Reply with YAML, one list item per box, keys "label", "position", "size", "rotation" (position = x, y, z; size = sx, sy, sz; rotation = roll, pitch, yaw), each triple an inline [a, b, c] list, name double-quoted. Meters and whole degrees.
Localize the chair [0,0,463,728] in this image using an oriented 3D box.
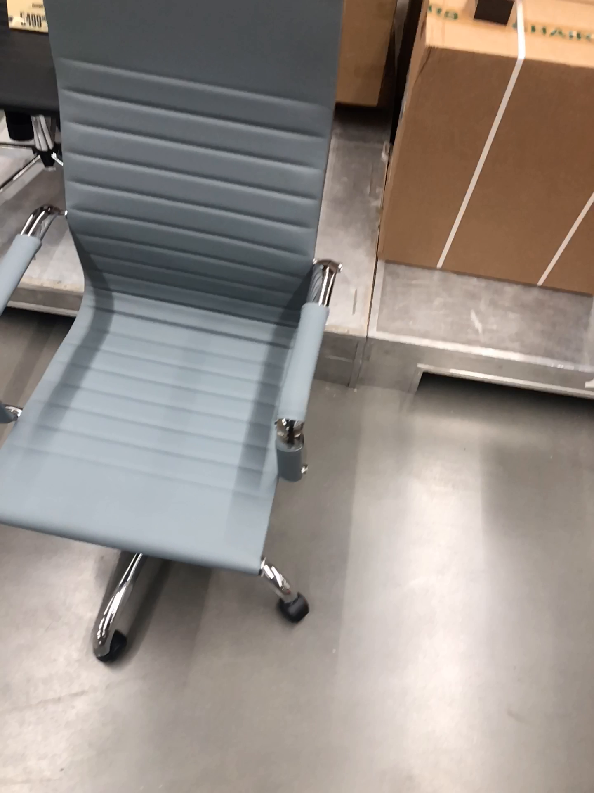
- label: "chair"
  position: [-0.250, -0.013, 1.132]
  size: [0.710, 1.213, 0.754]
  rotation: [12, 55, 4]
